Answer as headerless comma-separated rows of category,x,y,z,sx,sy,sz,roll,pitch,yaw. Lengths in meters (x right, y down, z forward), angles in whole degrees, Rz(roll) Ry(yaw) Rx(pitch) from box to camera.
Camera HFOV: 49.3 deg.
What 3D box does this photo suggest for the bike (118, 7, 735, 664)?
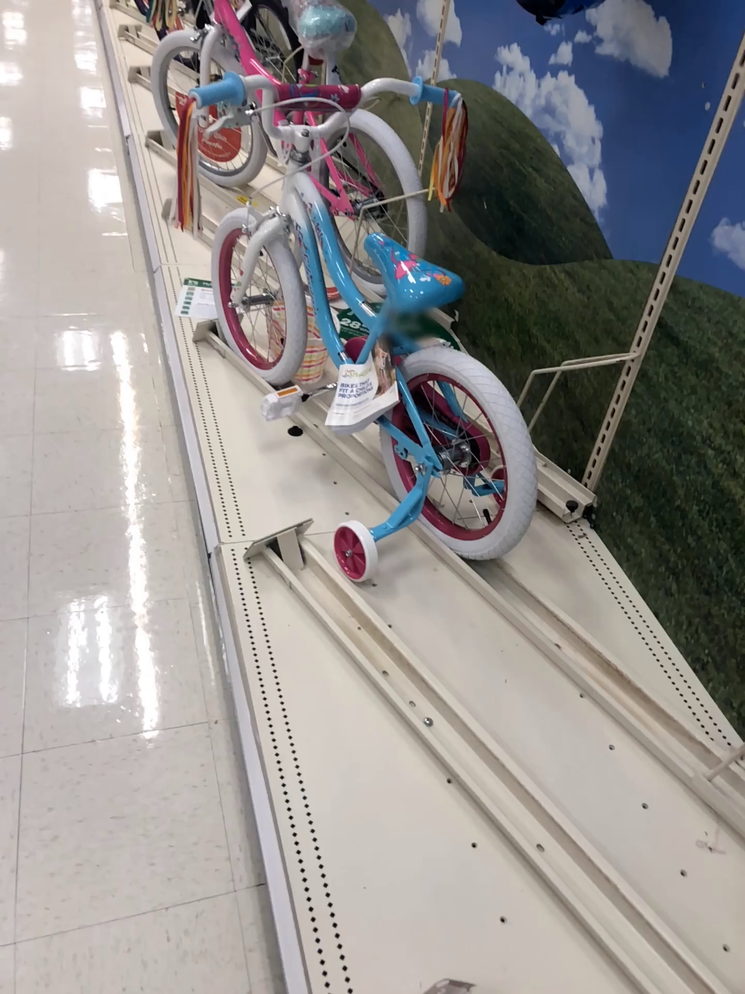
bike,-0.010,-0.414,1.610,0.533,0.723,1.094,-21,49,-32
